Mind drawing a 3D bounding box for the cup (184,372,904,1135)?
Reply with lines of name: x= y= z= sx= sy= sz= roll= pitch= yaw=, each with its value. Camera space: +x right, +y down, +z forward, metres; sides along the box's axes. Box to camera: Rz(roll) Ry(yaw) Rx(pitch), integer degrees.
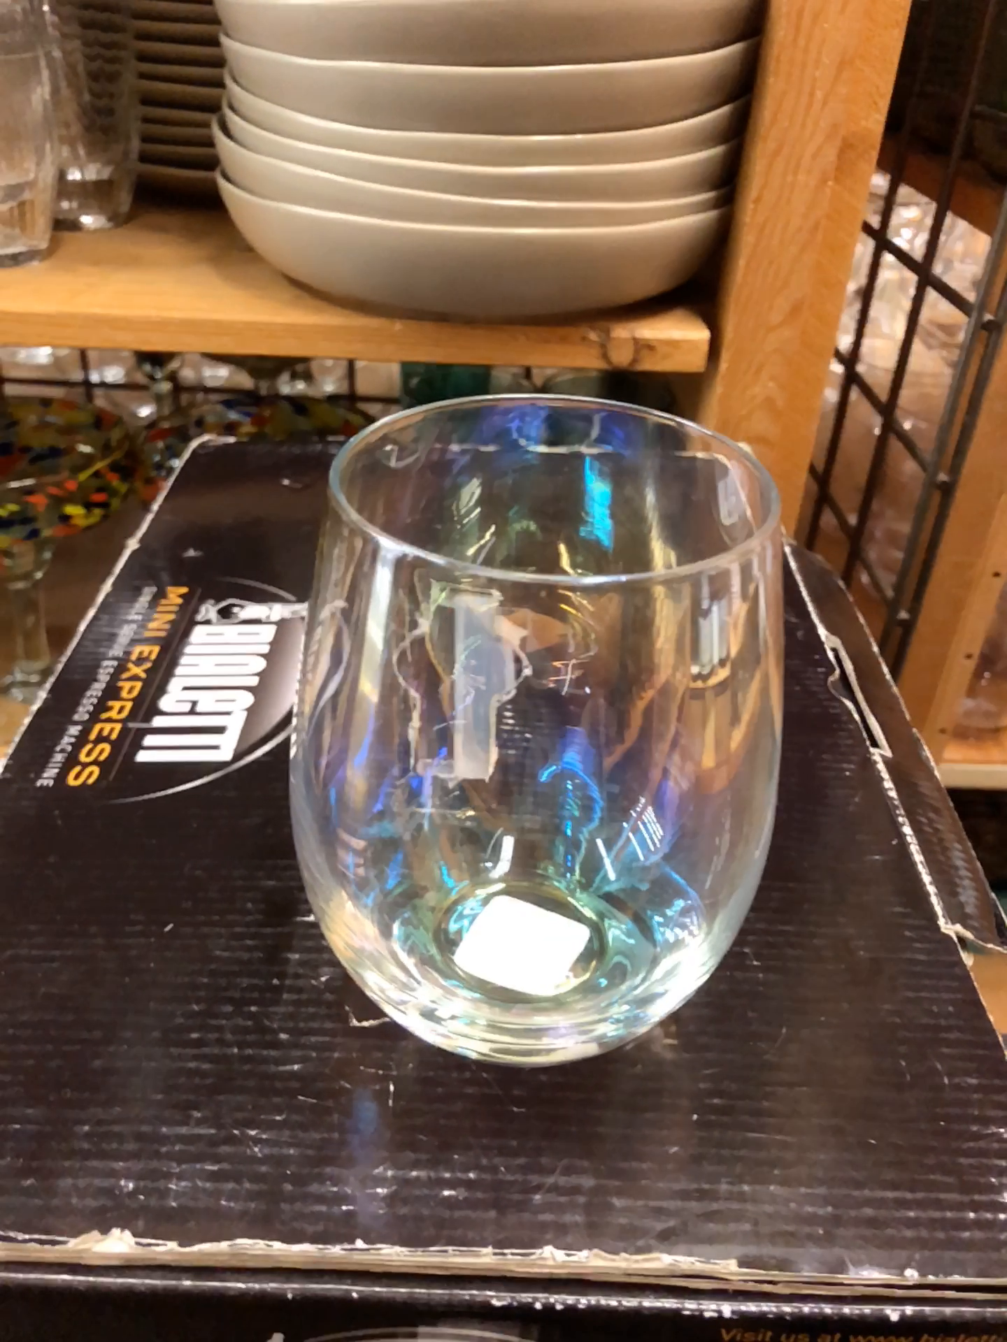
cup: x=0.002 y=0.014 z=0.211 sx=0.093 sy=0.107 sz=0.090 roll=3 pitch=33 yaw=-2
